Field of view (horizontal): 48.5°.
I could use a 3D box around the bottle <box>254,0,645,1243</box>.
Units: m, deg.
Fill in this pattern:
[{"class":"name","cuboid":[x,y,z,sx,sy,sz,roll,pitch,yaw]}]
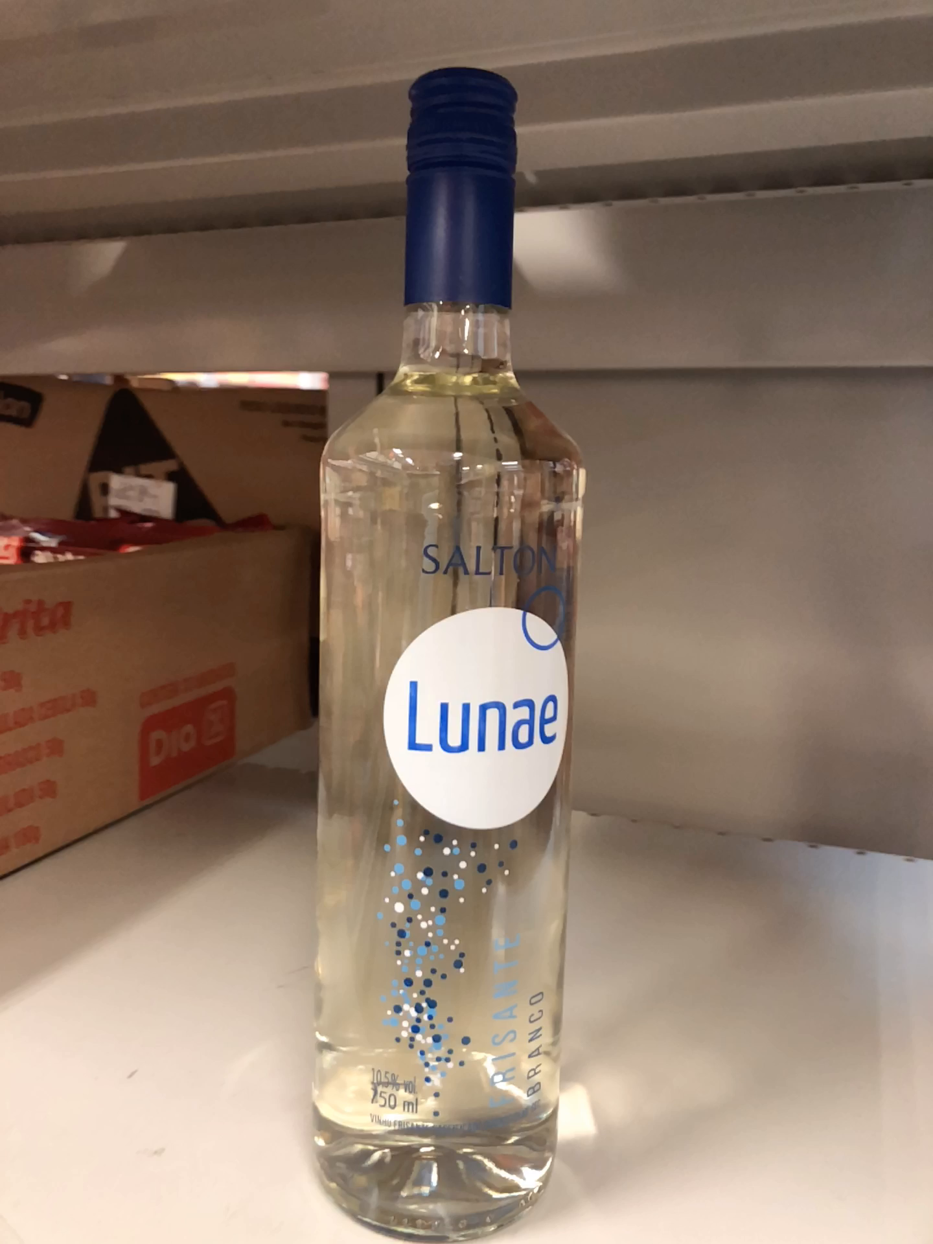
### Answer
[{"class":"bottle","cuboid":[-0.010,0.010,0.288,0.080,0.309,0.080,0,11,0]}]
